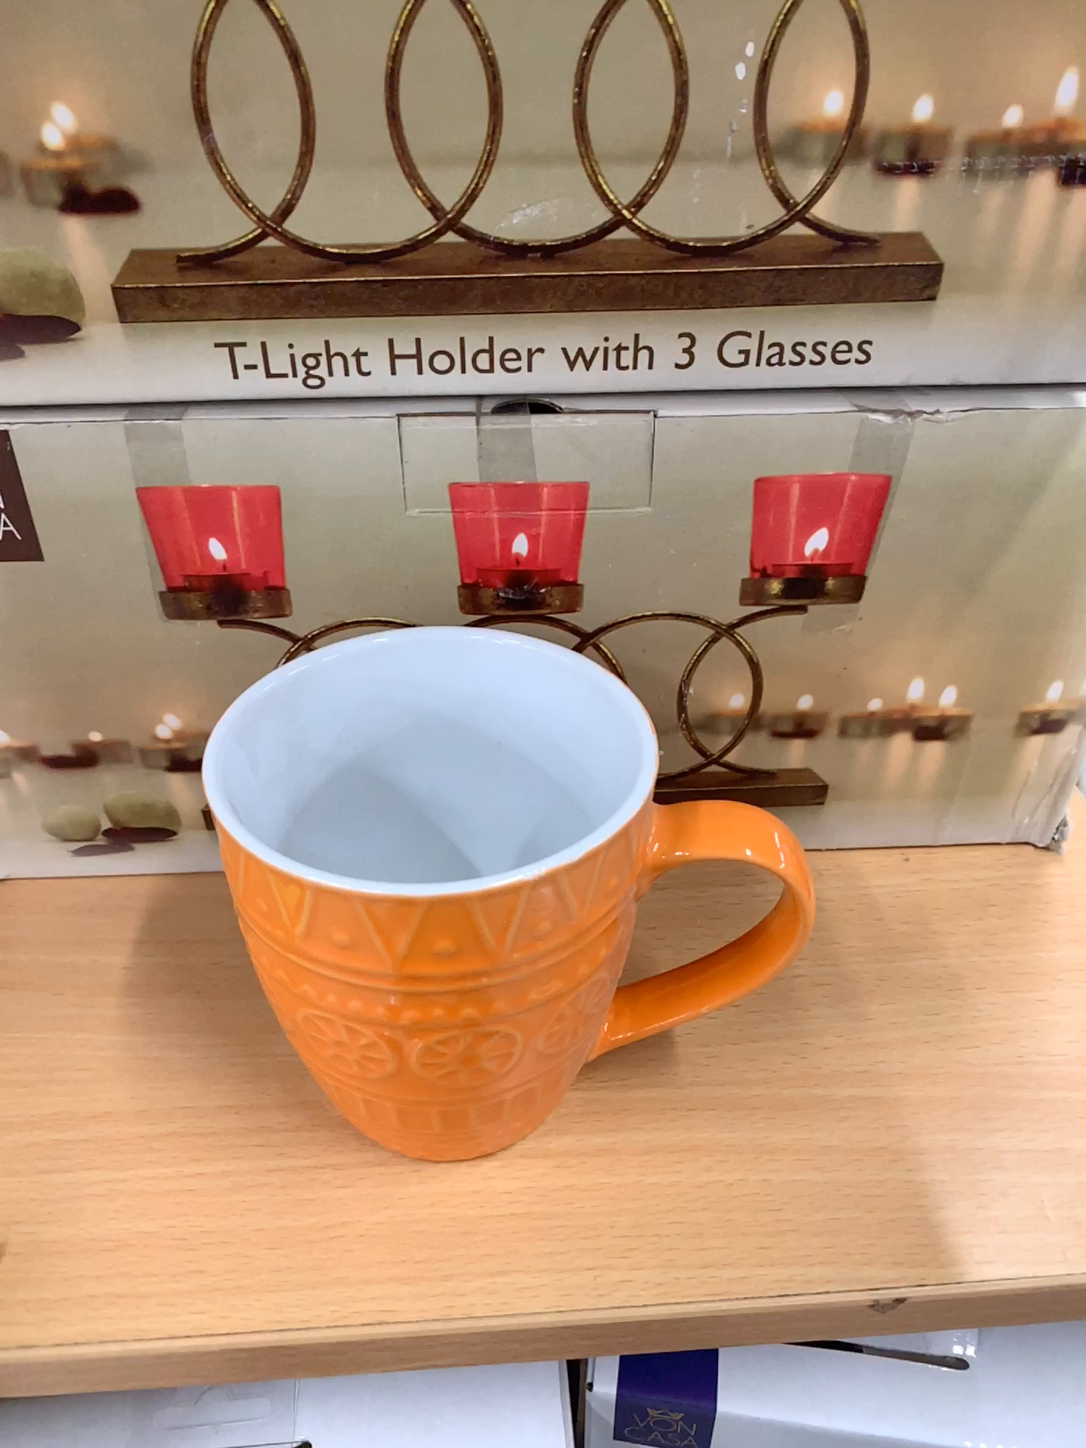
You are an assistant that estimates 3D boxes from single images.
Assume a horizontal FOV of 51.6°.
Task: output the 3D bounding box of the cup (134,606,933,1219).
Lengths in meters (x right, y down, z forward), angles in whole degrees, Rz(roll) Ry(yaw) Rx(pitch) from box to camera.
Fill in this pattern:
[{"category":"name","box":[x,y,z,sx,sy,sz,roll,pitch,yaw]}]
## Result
[{"category":"cup","box":[-0.001,0.034,0.224,0.120,0.080,0.080,3,34,2]}]
